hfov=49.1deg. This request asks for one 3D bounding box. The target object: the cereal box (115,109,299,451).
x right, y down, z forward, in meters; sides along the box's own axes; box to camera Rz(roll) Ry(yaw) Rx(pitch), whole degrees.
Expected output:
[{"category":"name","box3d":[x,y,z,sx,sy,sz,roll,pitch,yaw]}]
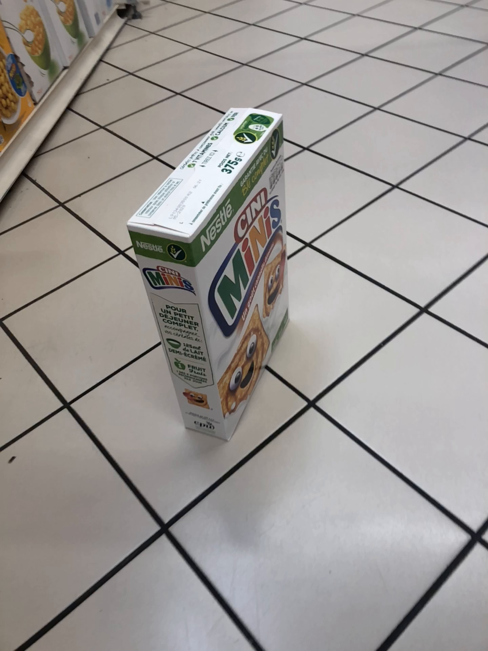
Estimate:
[{"category":"cereal box","box3d":[-0.012,-0.039,0.535,0.070,0.268,0.201,11,48,19]}]
